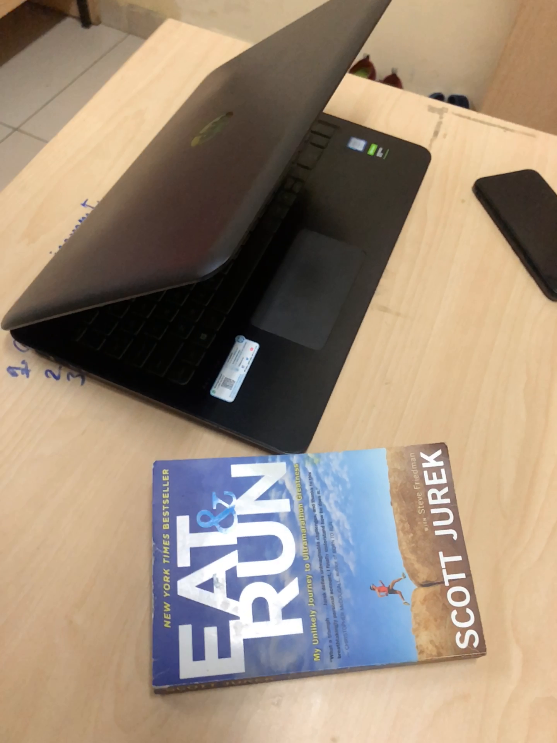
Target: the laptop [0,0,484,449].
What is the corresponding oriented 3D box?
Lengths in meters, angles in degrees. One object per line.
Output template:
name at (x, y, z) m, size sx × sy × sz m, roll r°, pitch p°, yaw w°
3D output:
laptop at (-0.016, -0.168, 0.487) m, size 0.230 × 0.167 × 0.361 m, roll 21°, pitch 59°, yaw 8°
